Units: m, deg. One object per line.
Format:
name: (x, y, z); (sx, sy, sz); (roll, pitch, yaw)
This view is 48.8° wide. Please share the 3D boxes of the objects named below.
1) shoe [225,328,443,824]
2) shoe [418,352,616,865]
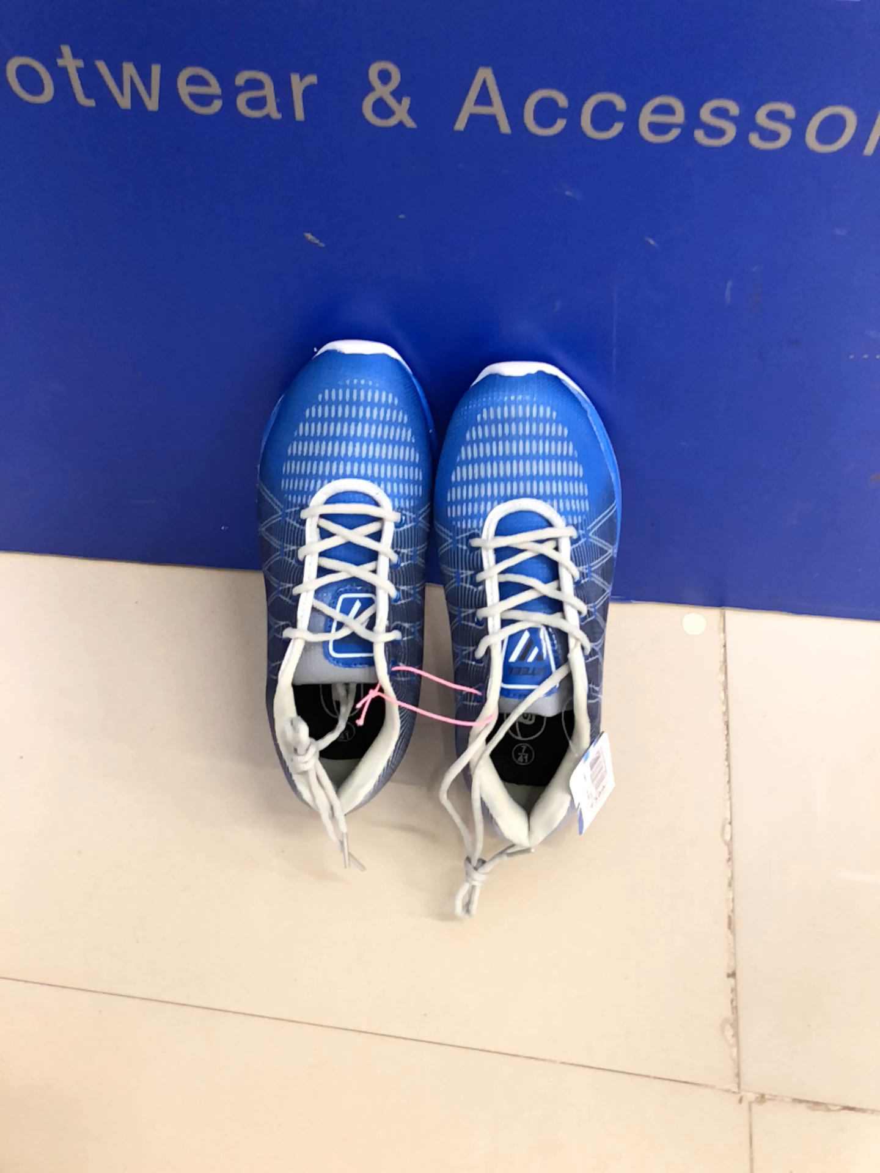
shoe: (-0.060, -0.010, 0.574); (0.110, 0.269, 0.100); (3, 12, 0)
shoe: (0.045, 0.008, 0.567); (0.100, 0.120, 0.270); (0, 97, 5)
